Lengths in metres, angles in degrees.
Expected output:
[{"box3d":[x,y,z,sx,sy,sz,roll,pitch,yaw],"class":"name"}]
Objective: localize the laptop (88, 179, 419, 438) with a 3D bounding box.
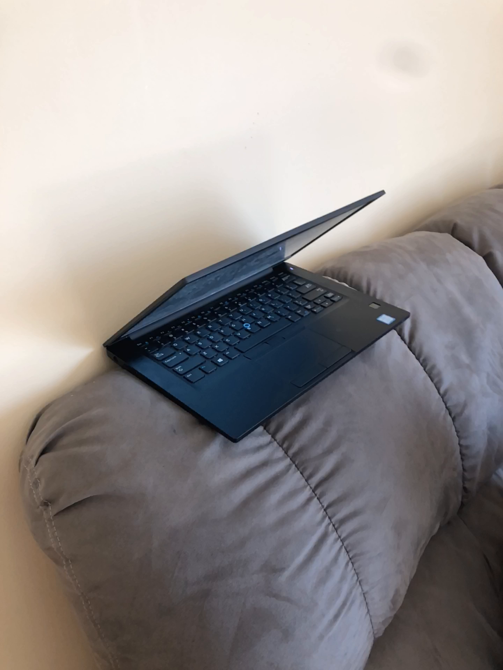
[{"box3d":[0.017,-0.062,0.658,0.214,0.128,0.321,26,40,36],"class":"laptop"}]
